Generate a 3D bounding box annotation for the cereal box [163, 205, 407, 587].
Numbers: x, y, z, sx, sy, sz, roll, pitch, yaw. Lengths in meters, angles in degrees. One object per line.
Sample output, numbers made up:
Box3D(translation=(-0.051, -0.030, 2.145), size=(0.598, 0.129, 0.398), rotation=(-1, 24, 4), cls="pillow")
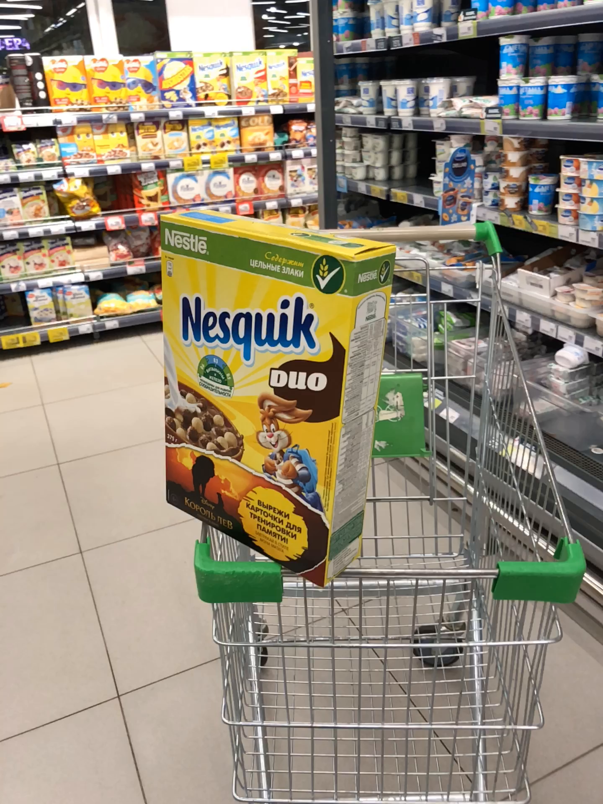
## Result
Box3D(translation=(-0.028, -0.012, 0.573), size=(0.200, 0.279, 0.060), rotation=(20, 28, 34), cls="cereal box")
